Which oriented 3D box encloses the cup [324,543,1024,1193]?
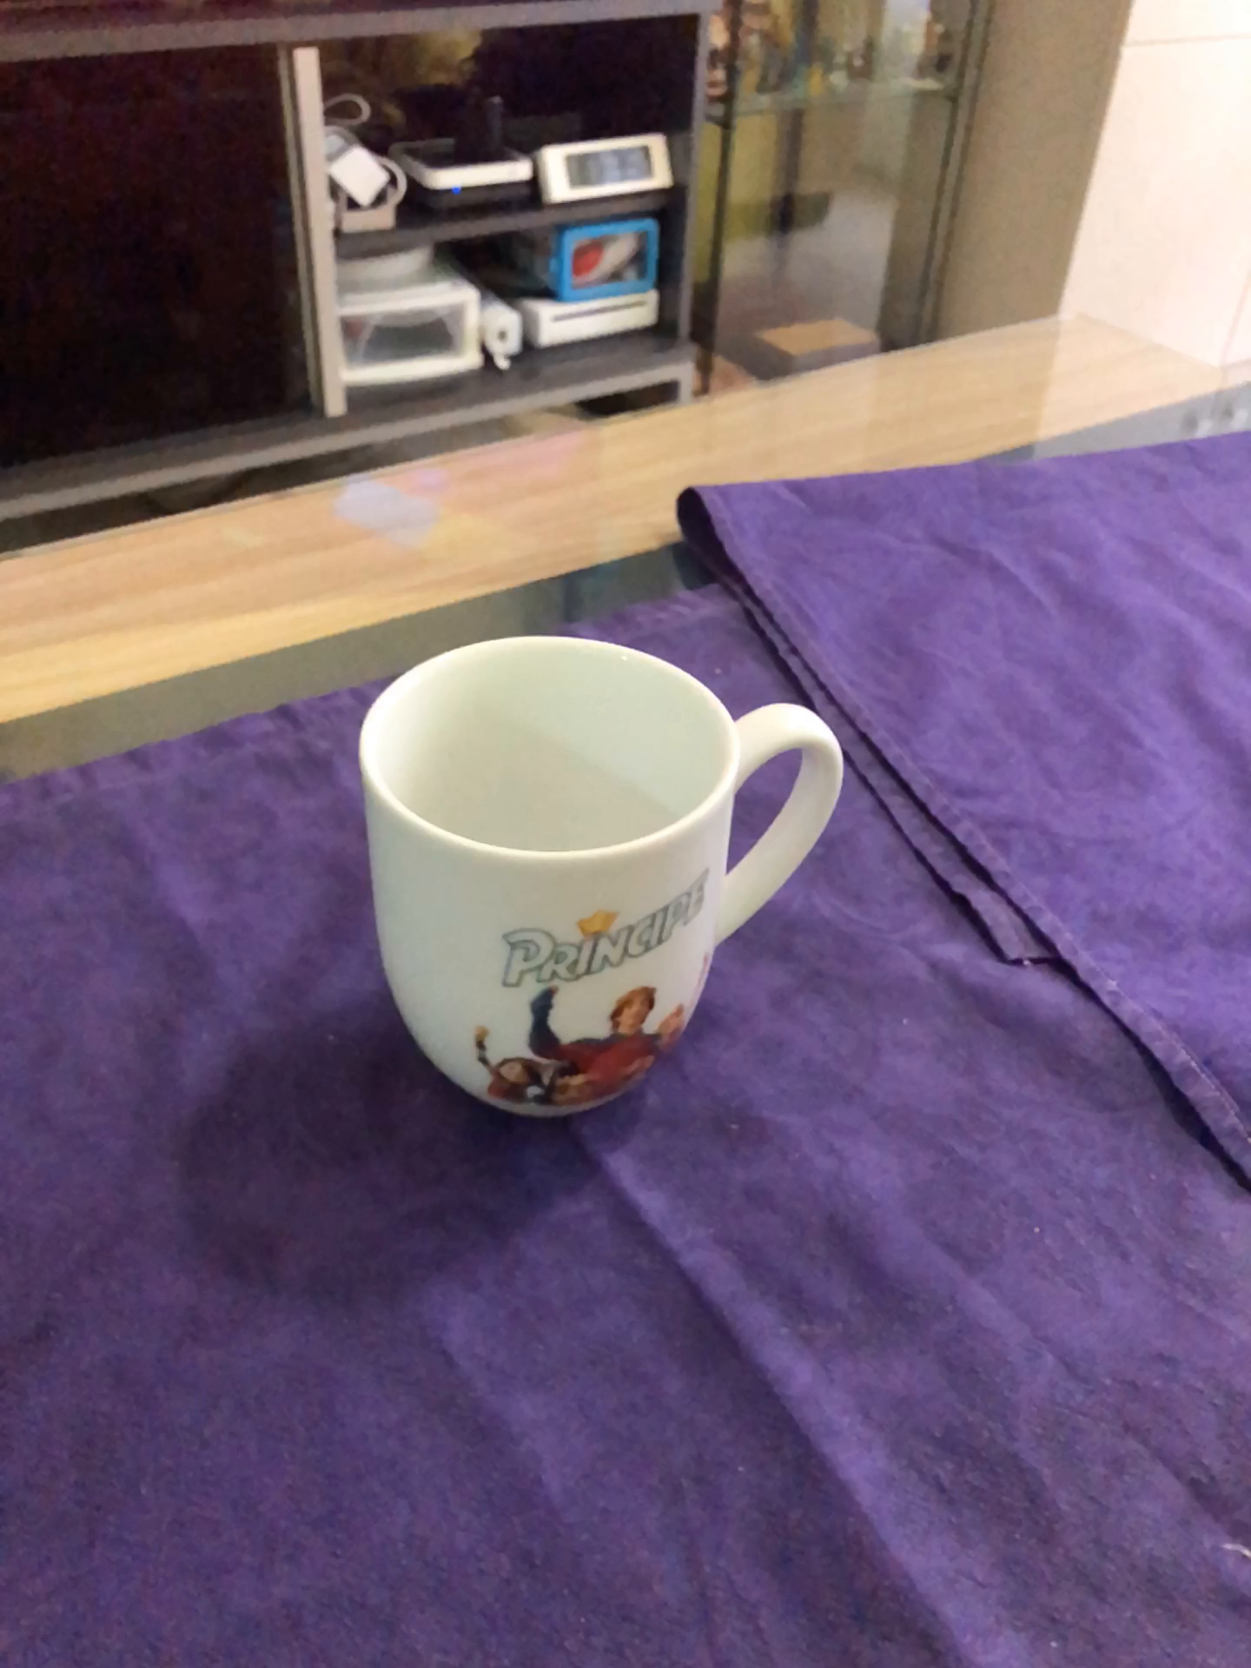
[{"bbox_3d":[0.006,0.003,0.313,0.120,0.090,0.080,-14,42,-20],"label":"cup"}]
